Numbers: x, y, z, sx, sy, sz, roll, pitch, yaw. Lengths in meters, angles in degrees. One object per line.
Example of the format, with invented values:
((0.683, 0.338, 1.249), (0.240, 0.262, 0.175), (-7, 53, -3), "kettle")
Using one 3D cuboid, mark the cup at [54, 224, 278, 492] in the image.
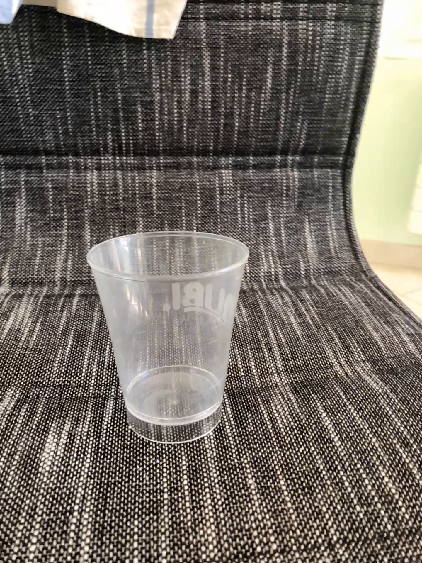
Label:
((-0.021, 0.031, 0.254), (0.080, 0.100, 0.080), (0, 20, 0), "cup")
